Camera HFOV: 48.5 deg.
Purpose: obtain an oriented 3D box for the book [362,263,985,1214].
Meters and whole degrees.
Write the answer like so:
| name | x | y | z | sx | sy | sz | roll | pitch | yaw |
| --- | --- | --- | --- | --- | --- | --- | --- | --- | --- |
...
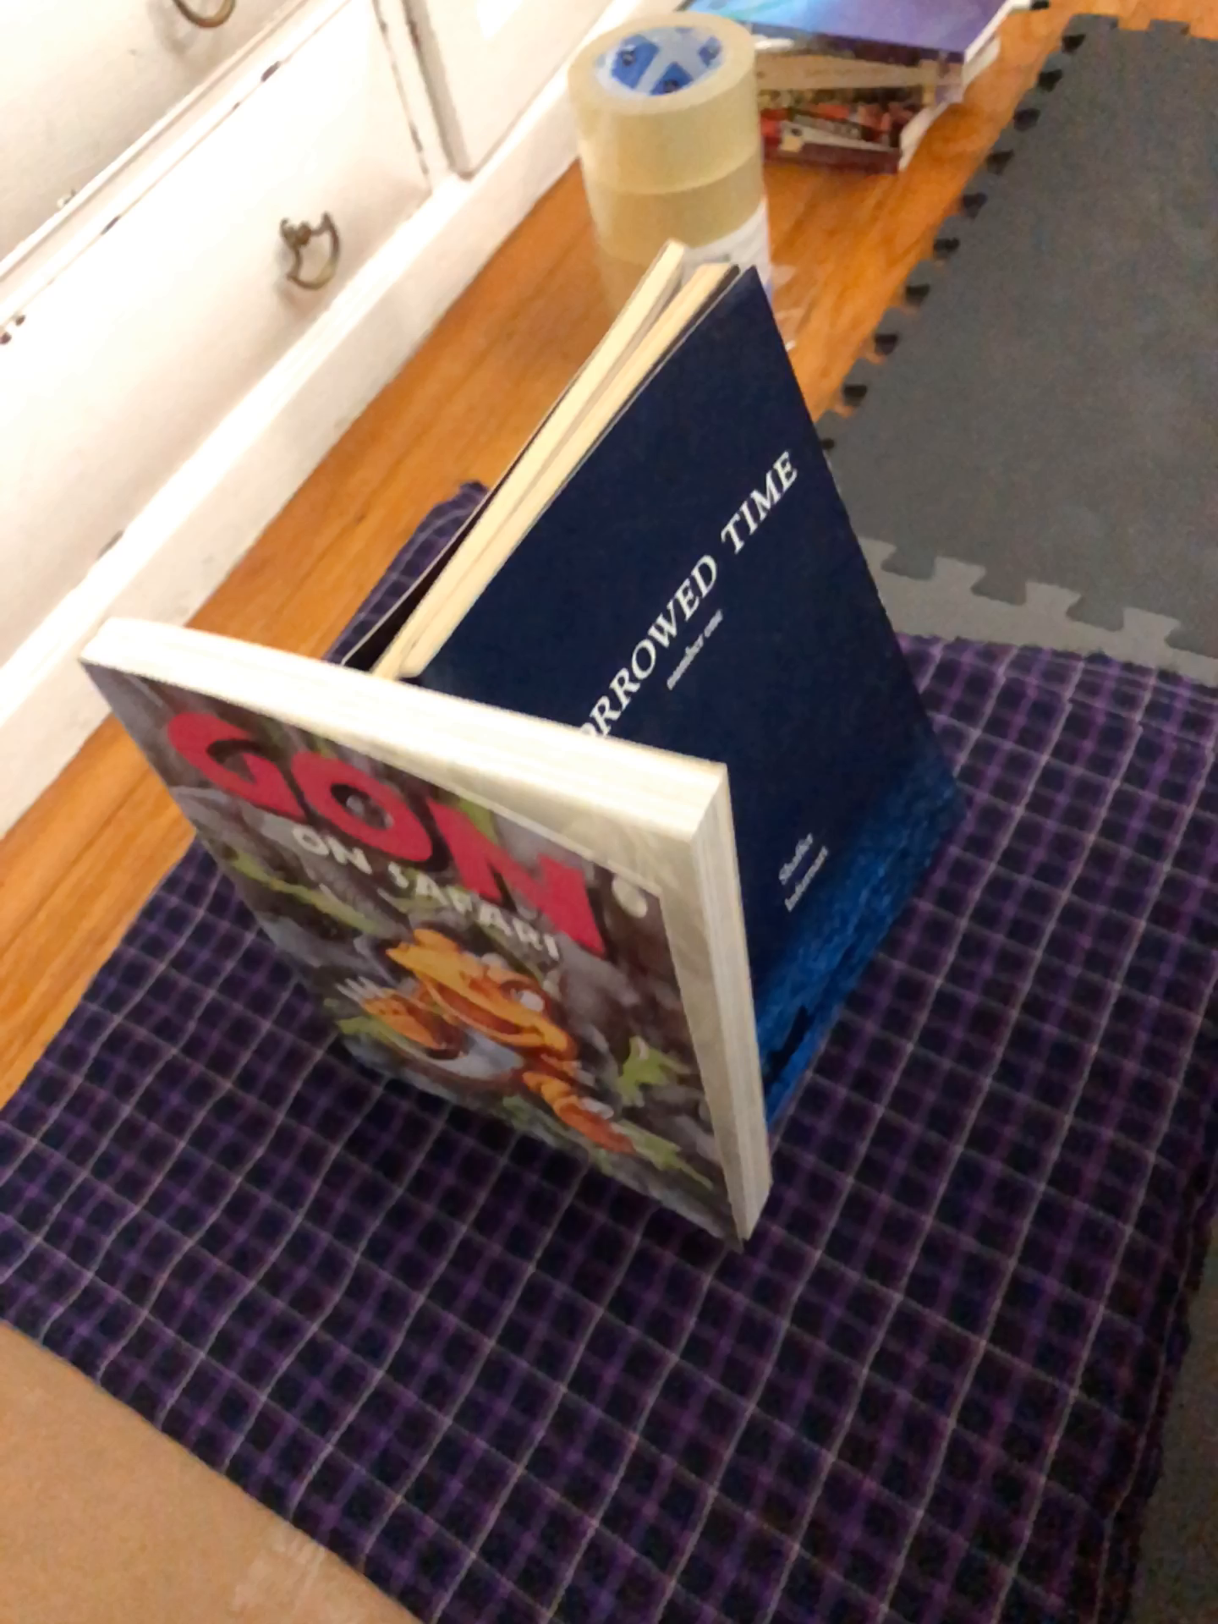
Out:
| name | x | y | z | sx | sy | sz | roll | pitch | yaw |
| --- | --- | --- | --- | --- | --- | --- | --- | --- | --- |
| book | 0.038 | -0.010 | 0.352 | 0.010 | 0.199 | 0.150 | 8 | 55 | 41 |

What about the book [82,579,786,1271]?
| name | x | y | z | sx | sy | sz | roll | pitch | yaw |
| --- | --- | --- | --- | --- | --- | --- | --- | --- | --- |
| book | -0.029 | 0.038 | 0.326 | 0.140 | 0.189 | 0.020 | 17 | 55 | 22 |

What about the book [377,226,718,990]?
| name | x | y | z | sx | sy | sz | roll | pitch | yaw |
| --- | --- | --- | --- | --- | --- | --- | --- | --- | --- |
| book | -0.021 | -0.041 | 0.383 | 0.010 | 0.199 | 0.140 | 27 | 65 | 6 |
